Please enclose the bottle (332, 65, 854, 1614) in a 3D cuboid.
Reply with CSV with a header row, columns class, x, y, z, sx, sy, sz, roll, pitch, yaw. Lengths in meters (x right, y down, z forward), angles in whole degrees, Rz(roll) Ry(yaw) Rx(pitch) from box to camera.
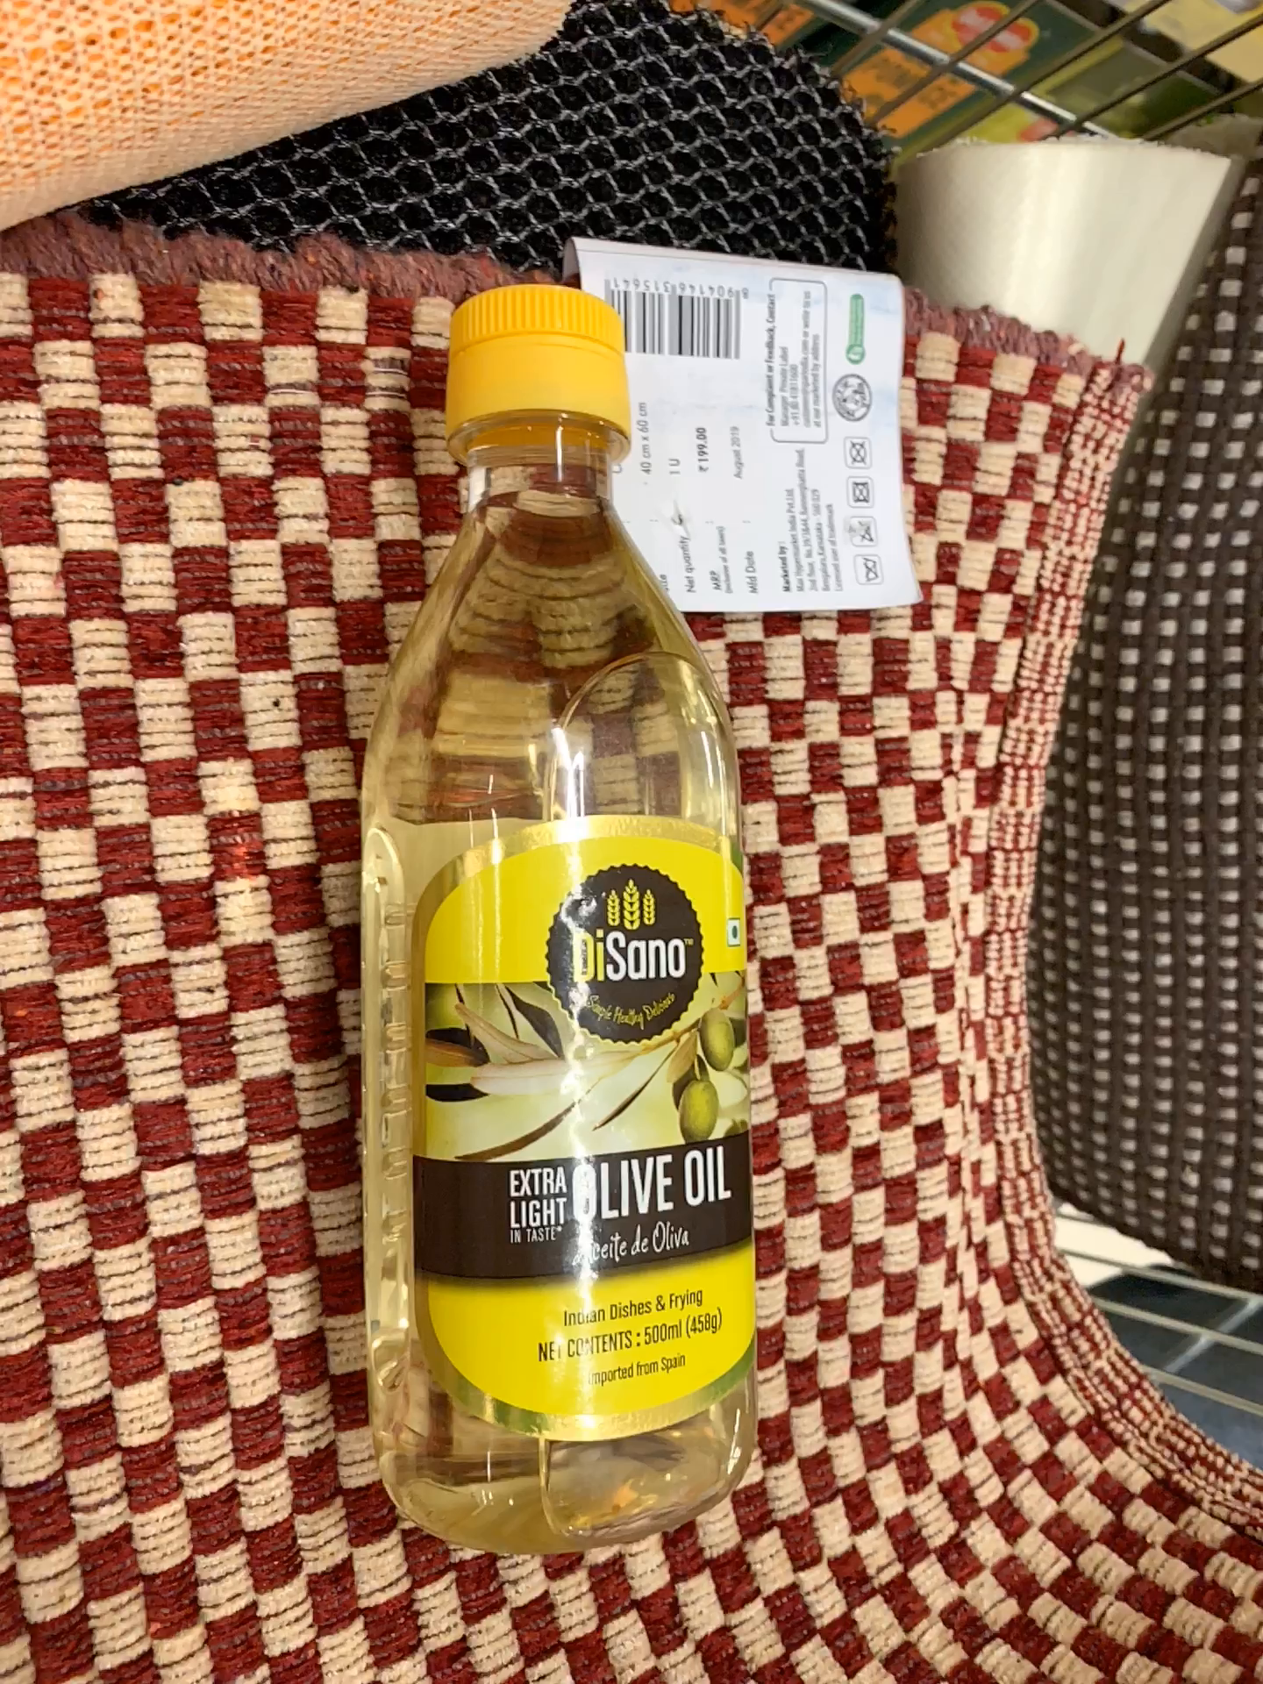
class,x,y,z,sx,sy,sz,roll,pitch,yaw
bottle,-0.009,-0.001,0.238,0.070,0.060,0.230,0,88,-29
